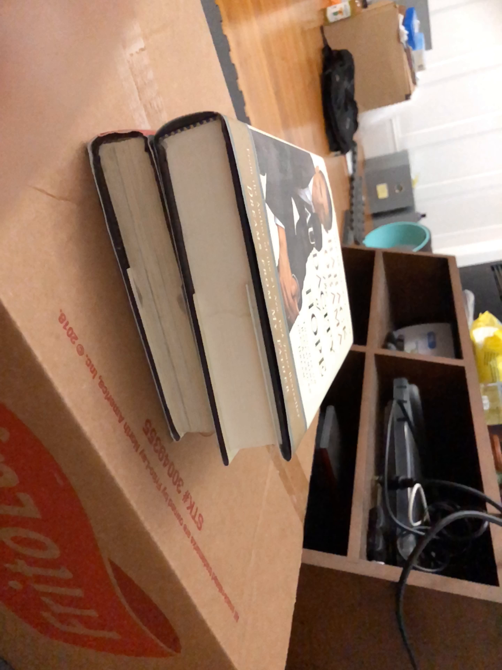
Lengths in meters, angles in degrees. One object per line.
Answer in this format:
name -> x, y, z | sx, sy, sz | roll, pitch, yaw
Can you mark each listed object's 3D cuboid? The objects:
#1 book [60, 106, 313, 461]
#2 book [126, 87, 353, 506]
book -> -0.014, -0.055, 0.380 | 0.251, 0.040, 0.170 | -49, 129, -65
book -> 0.018, -0.036, 0.373 | 0.251, 0.040, 0.190 | -36, 117, -69
